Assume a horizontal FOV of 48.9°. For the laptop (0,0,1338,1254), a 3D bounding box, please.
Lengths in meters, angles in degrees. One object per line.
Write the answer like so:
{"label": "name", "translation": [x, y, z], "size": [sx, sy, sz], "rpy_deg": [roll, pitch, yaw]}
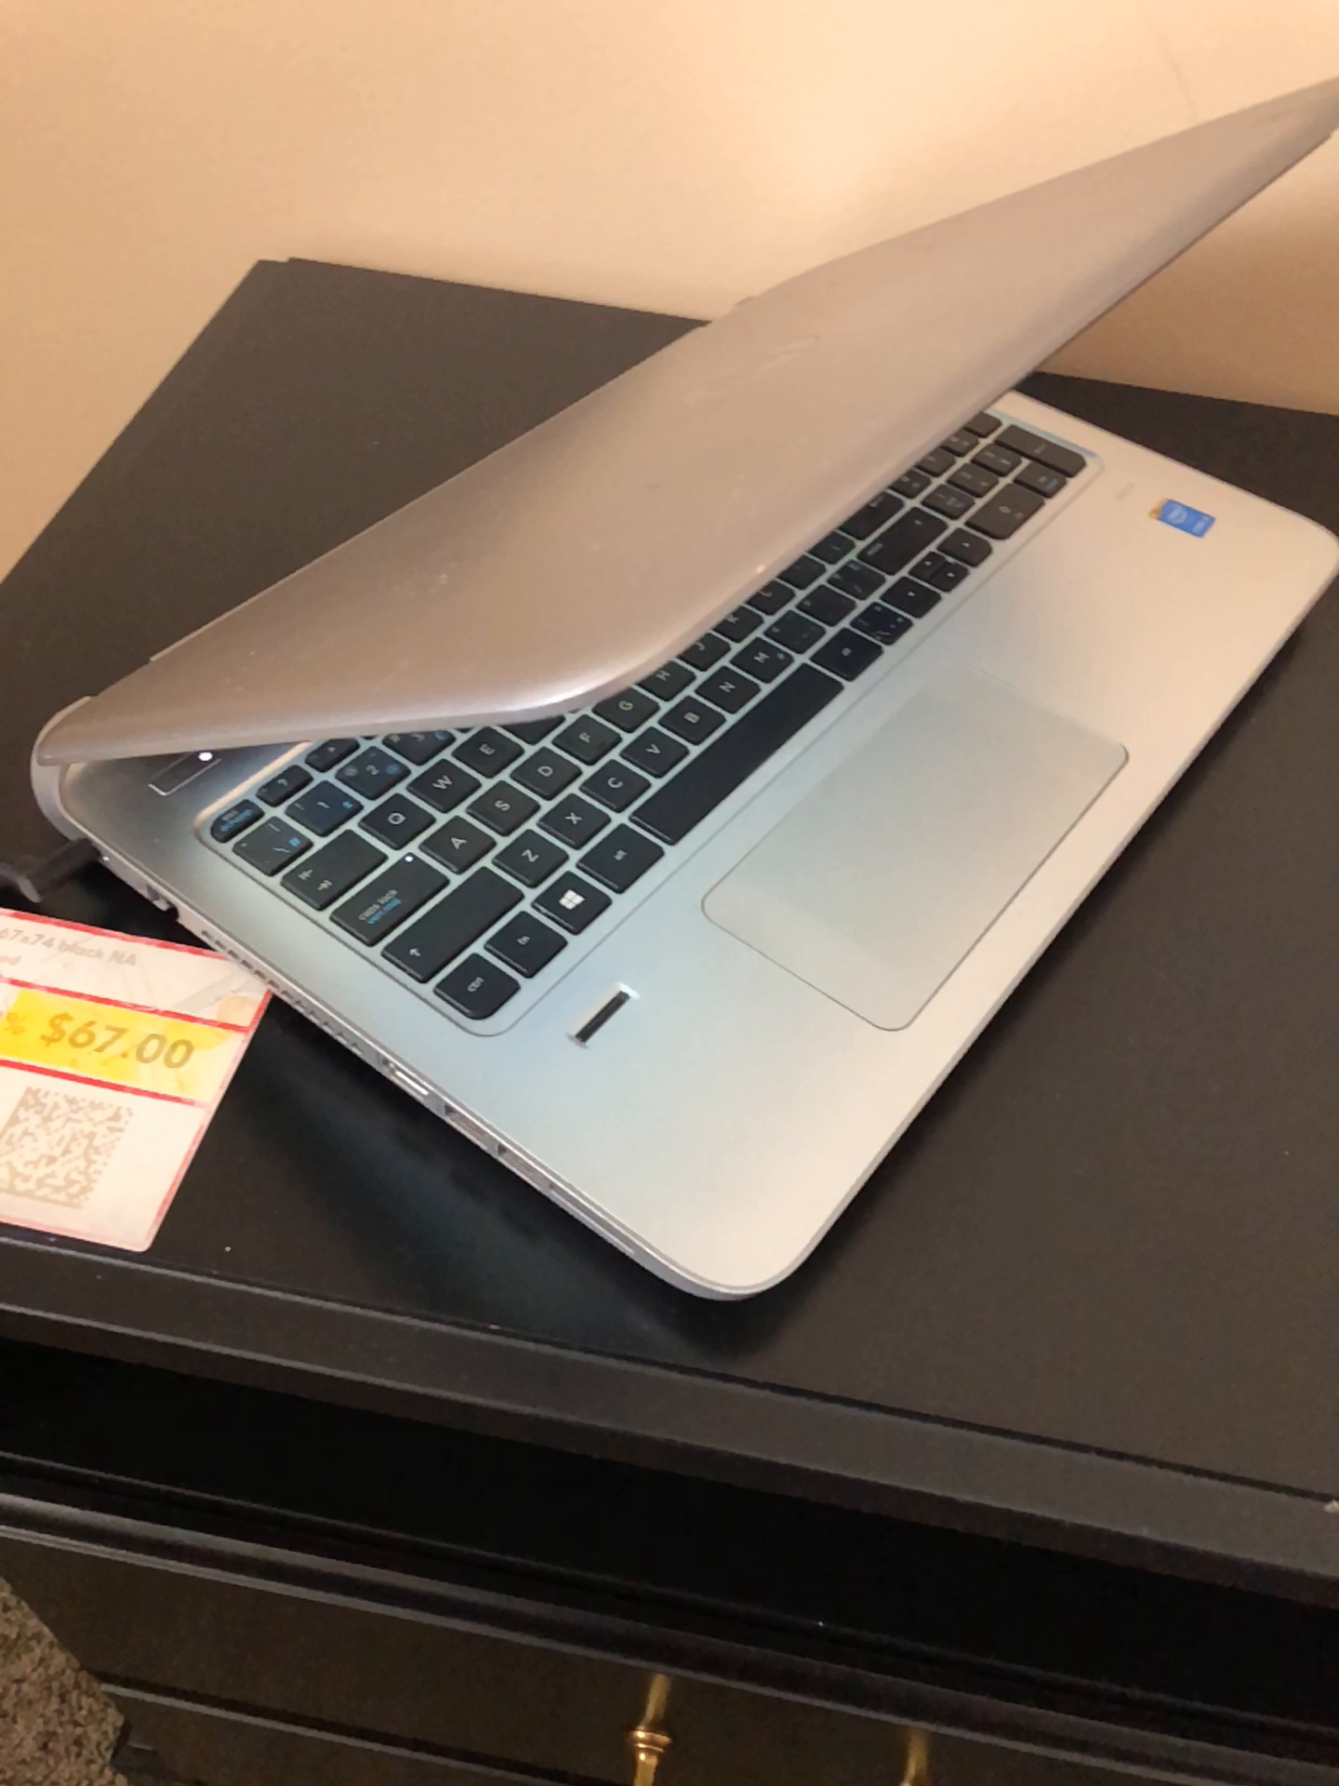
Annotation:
{"label": "laptop", "translation": [0.035, -0.125, 0.407], "size": [0.228, 0.153, 0.356], "rpy_deg": [31, 53, 21]}
